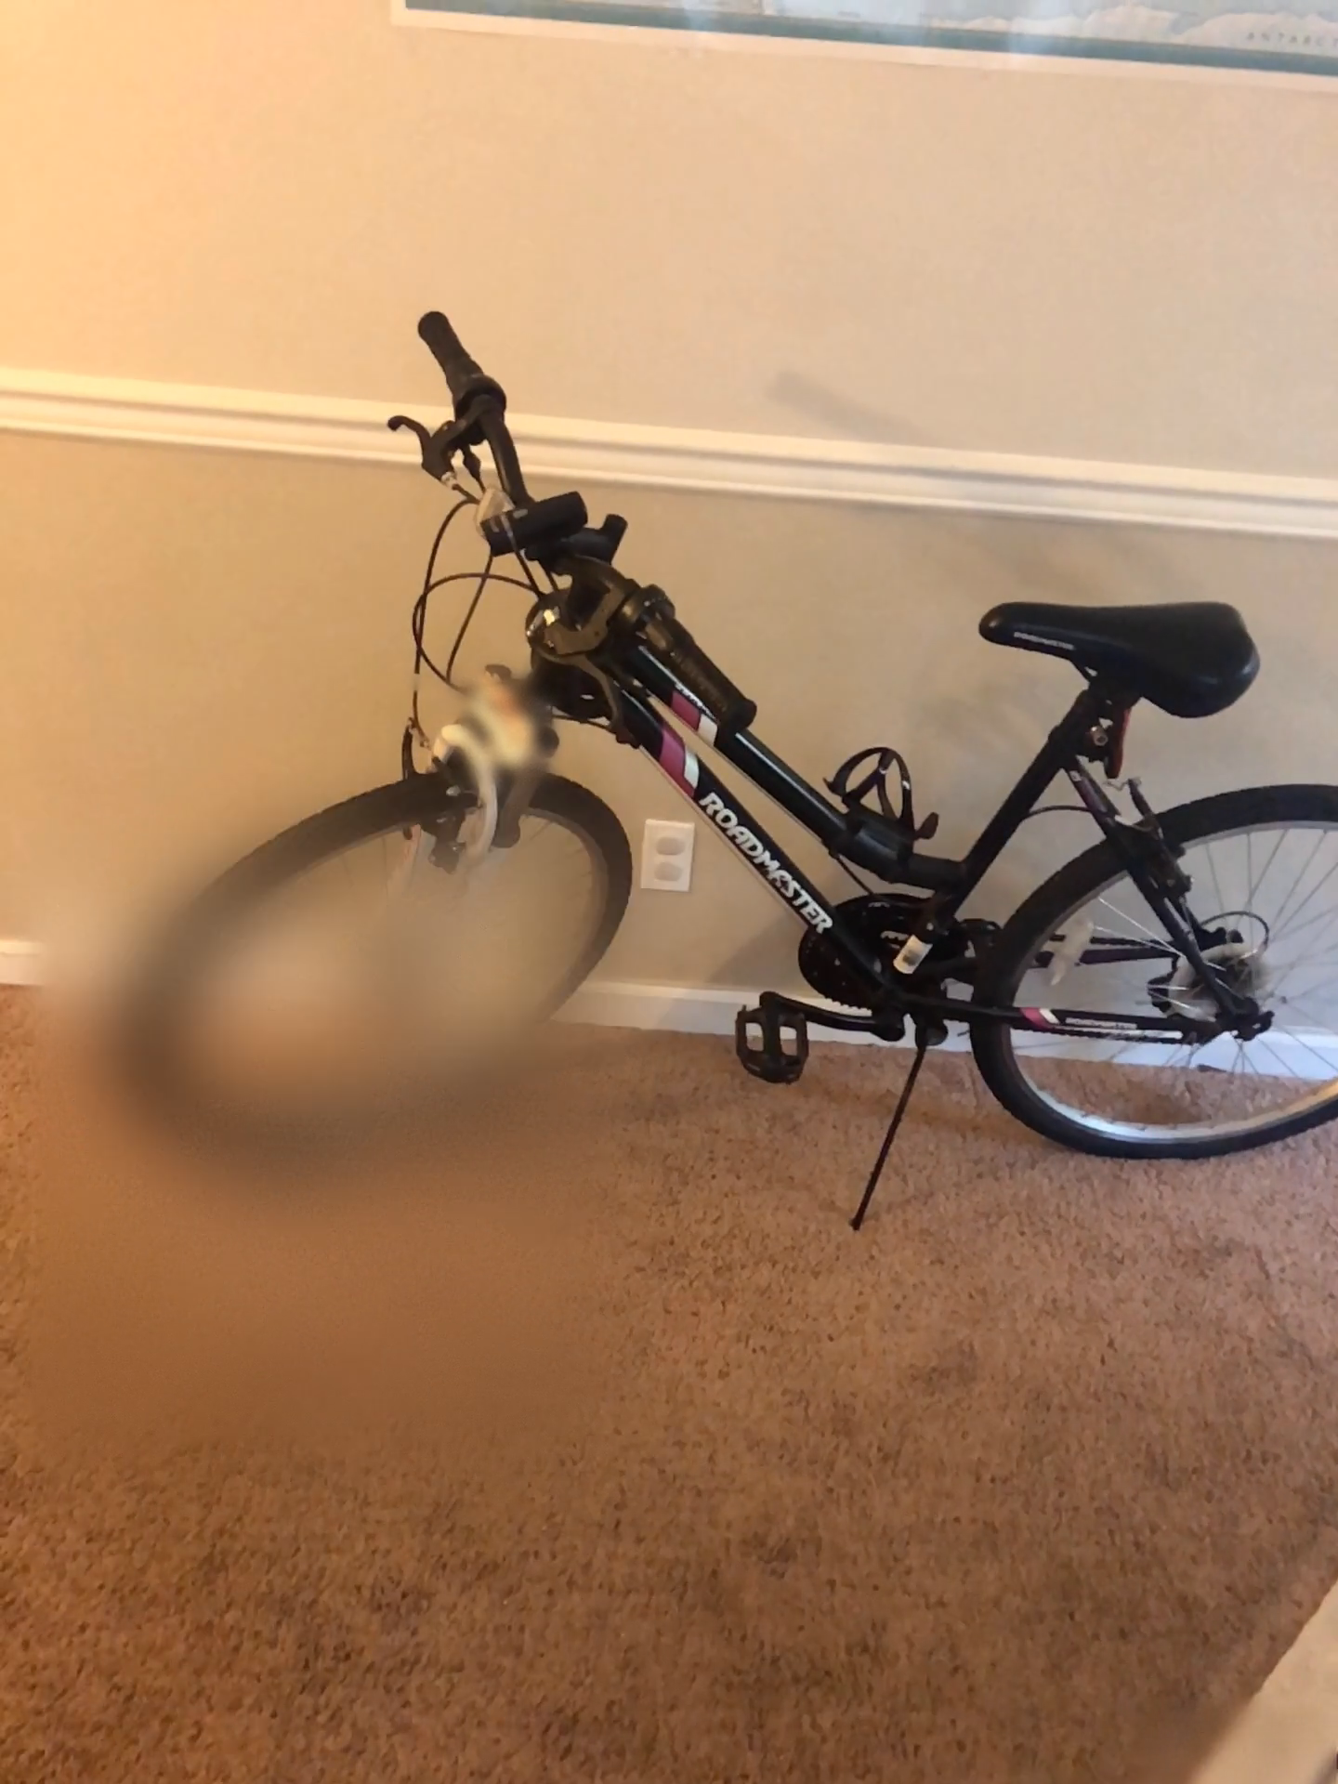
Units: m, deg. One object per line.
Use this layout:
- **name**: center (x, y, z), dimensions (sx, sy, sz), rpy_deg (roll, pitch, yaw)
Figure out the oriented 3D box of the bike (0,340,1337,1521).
- **bike**: center (0.262, 0.027, 1.828), dimensions (1.864, 1.177, 0.682), rpy_deg (-1, 31, -8)
